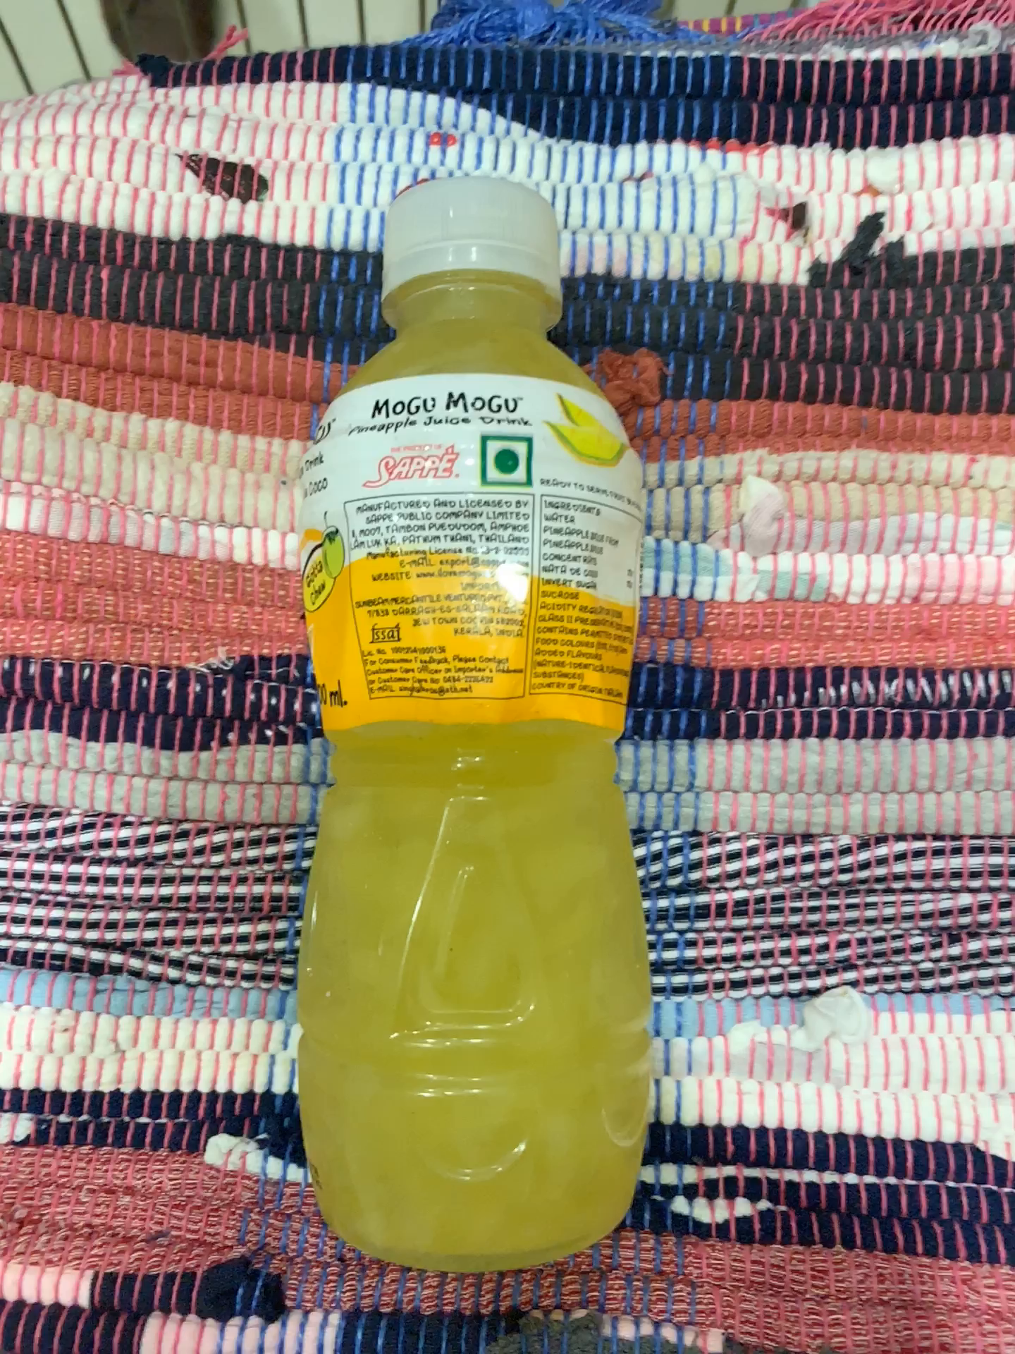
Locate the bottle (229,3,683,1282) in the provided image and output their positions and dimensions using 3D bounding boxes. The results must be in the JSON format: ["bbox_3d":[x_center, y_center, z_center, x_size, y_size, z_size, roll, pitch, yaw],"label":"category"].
[{"bbox_3d":[-0.008,-0.010,0.180,0.060,0.050,0.190,-1,81,0],"label":"bottle"}]
